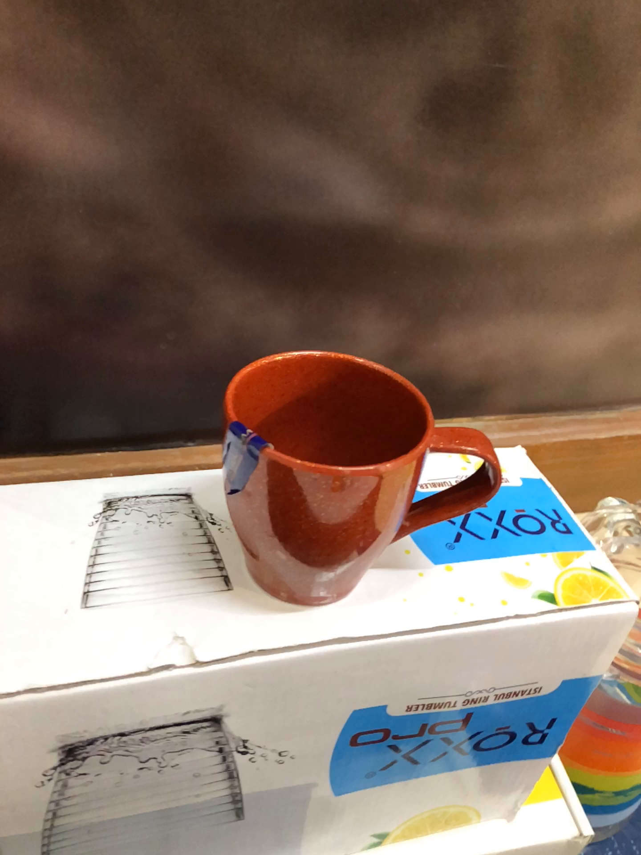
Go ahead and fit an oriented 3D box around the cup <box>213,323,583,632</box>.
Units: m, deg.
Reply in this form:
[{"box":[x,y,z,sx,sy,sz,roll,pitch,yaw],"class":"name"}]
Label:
[{"box":[0.019,0.015,0.239,0.100,0.070,0.070,3,34,-3],"class":"cup"}]
